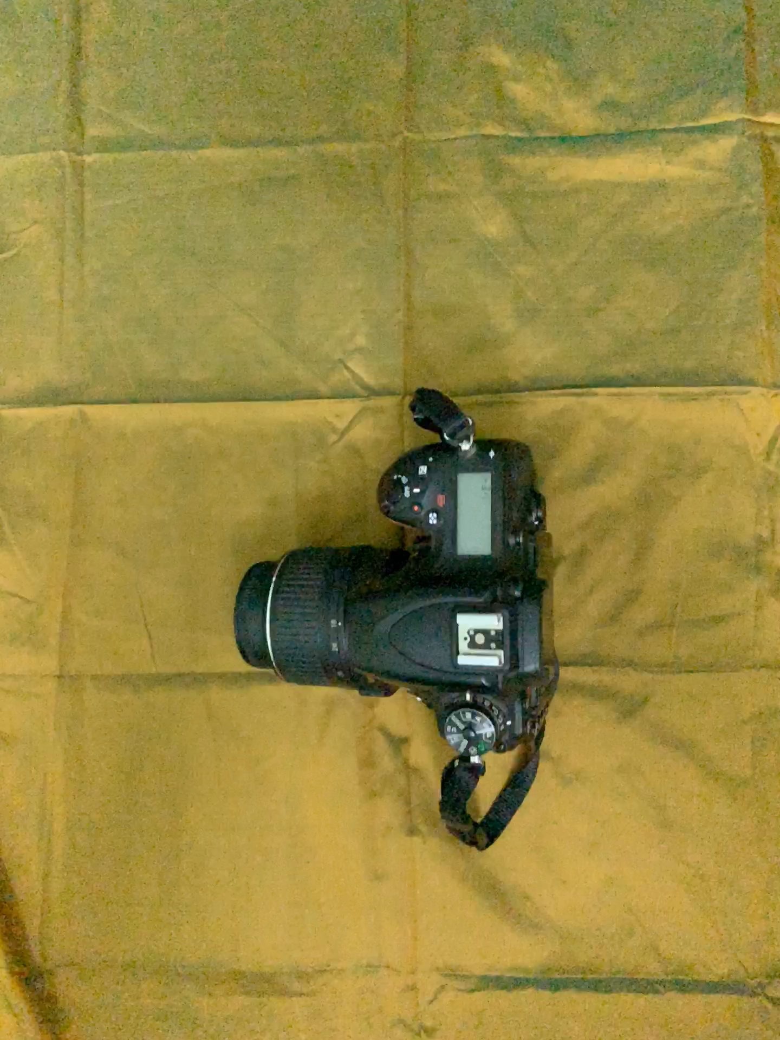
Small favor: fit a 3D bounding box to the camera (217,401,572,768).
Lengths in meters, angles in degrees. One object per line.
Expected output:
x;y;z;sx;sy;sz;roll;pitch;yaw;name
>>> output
0.010;0.028;0.373;0.131;0.120;0.135;-1;86;19;camera
